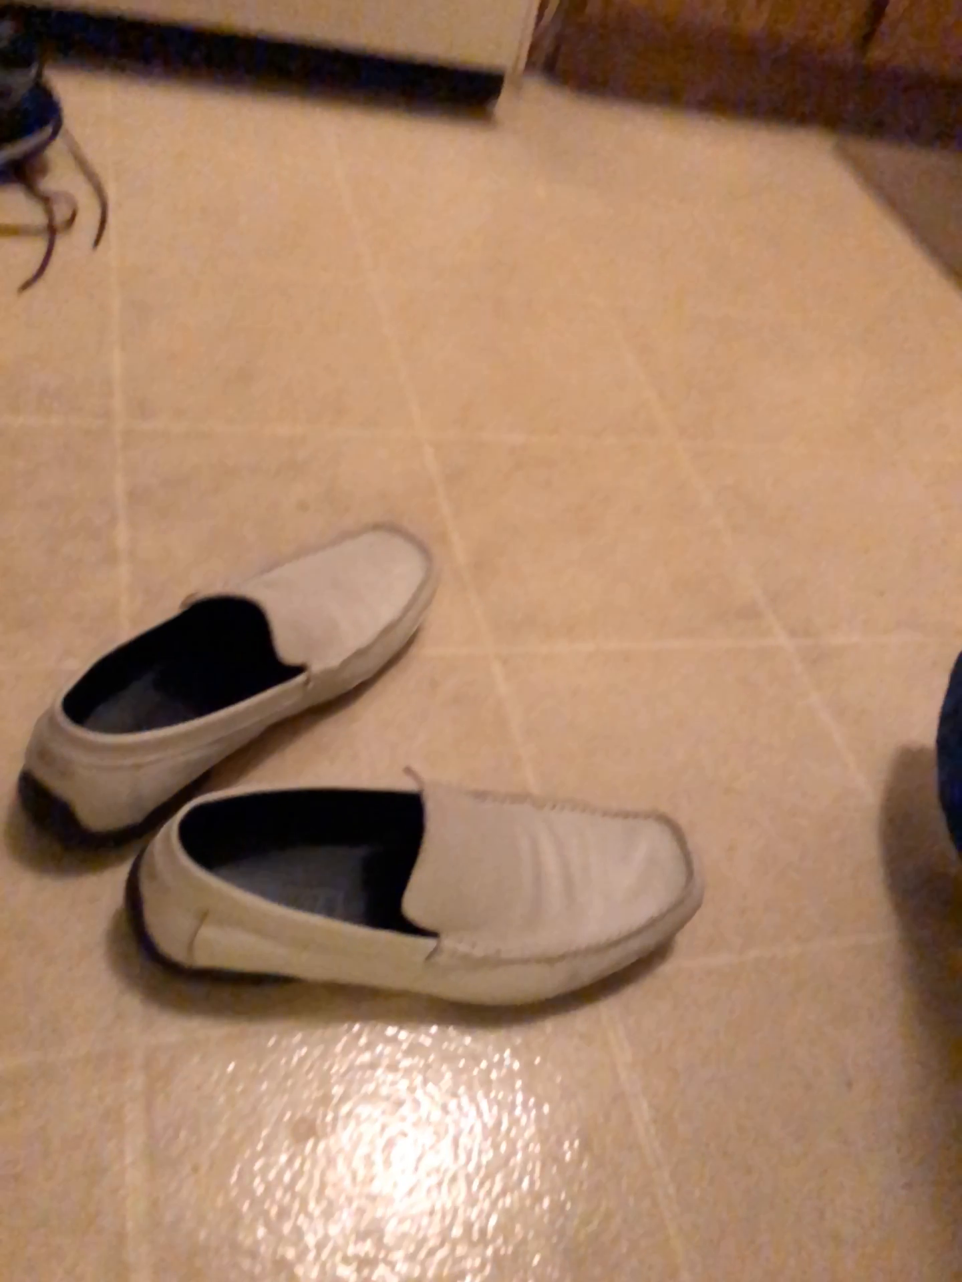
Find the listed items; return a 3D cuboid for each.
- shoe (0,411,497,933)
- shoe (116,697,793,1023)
[{"bbox_3d":[-0.130,-0.003,0.580,0.110,0.097,0.308,34,47,15],"label":"shoe"},{"bbox_3d":[-0.017,0.109,0.511,0.289,0.097,0.111,4,47,-14],"label":"shoe"}]
